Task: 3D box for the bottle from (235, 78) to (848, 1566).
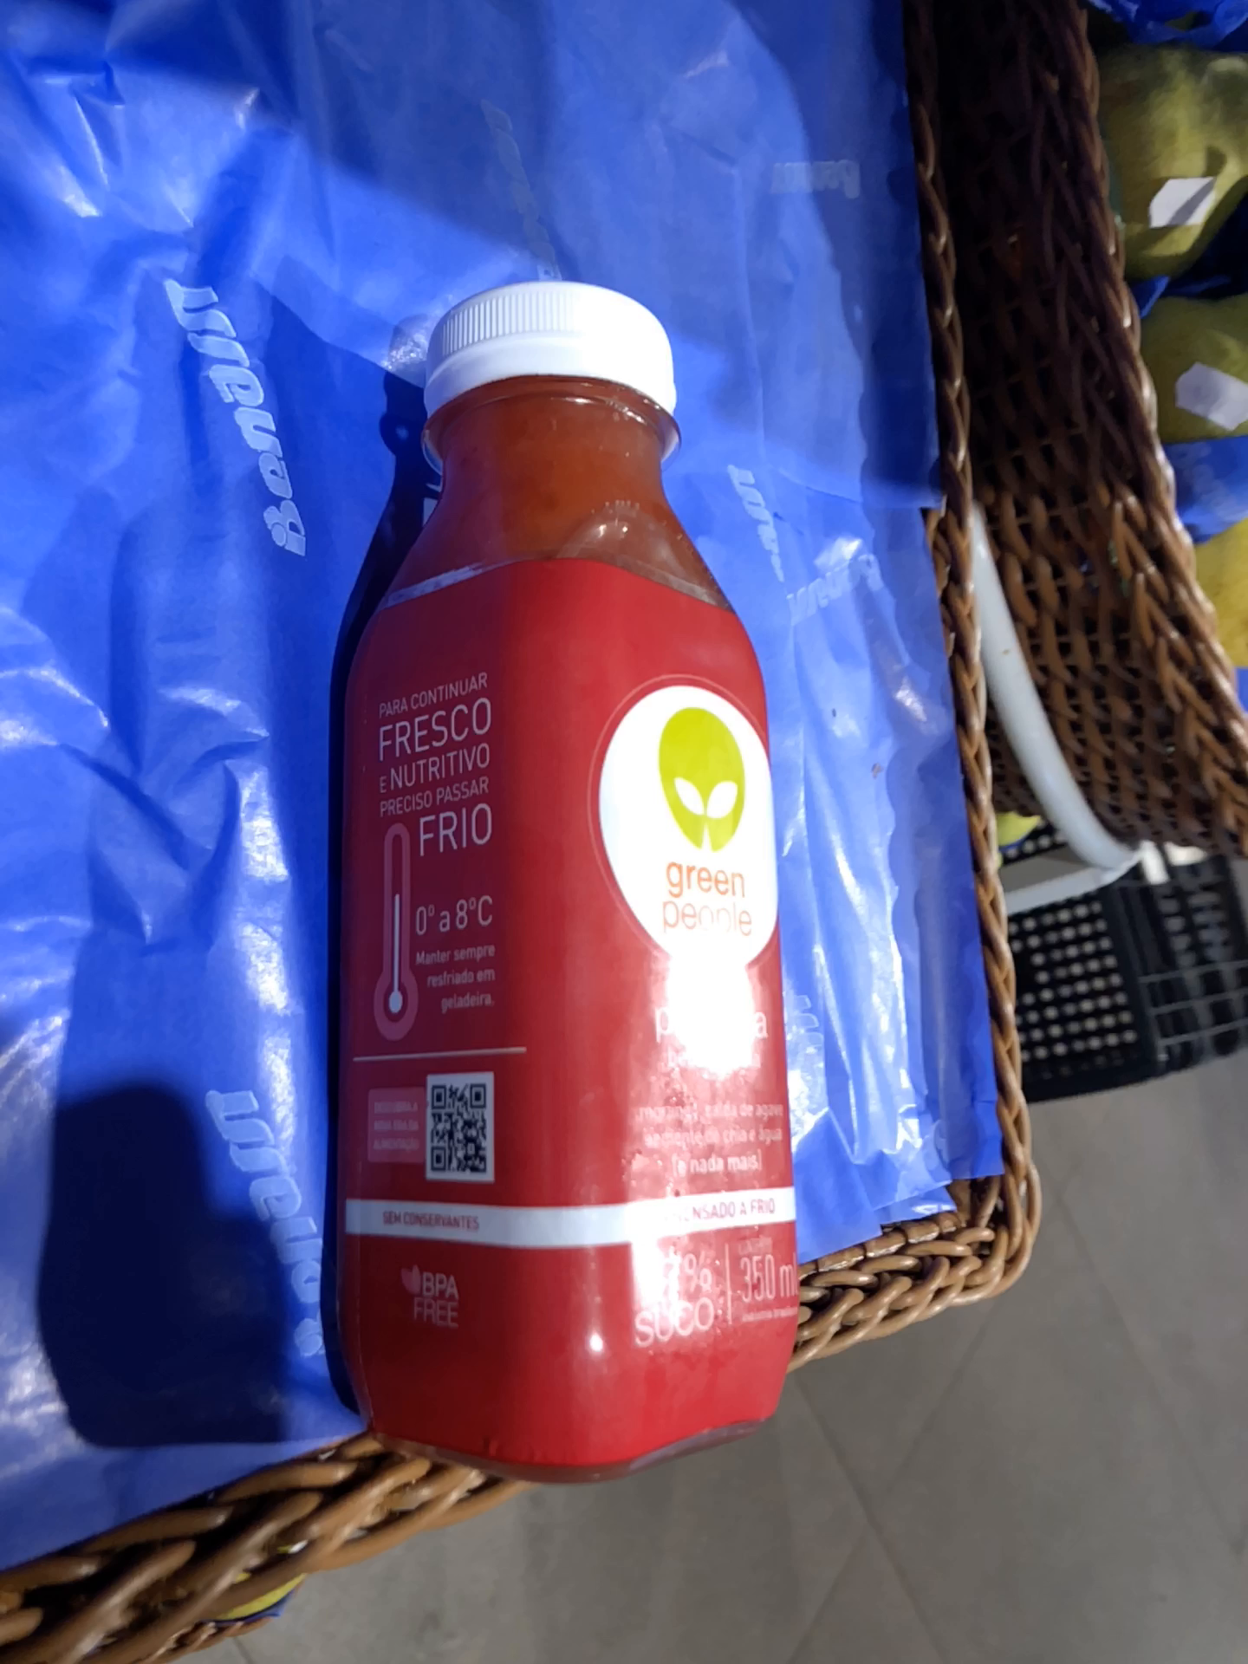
[{"bbox_3d":[-0.013,-0.003,0.214,0.060,0.060,0.190,12,72,-44],"label":"bottle"}]
